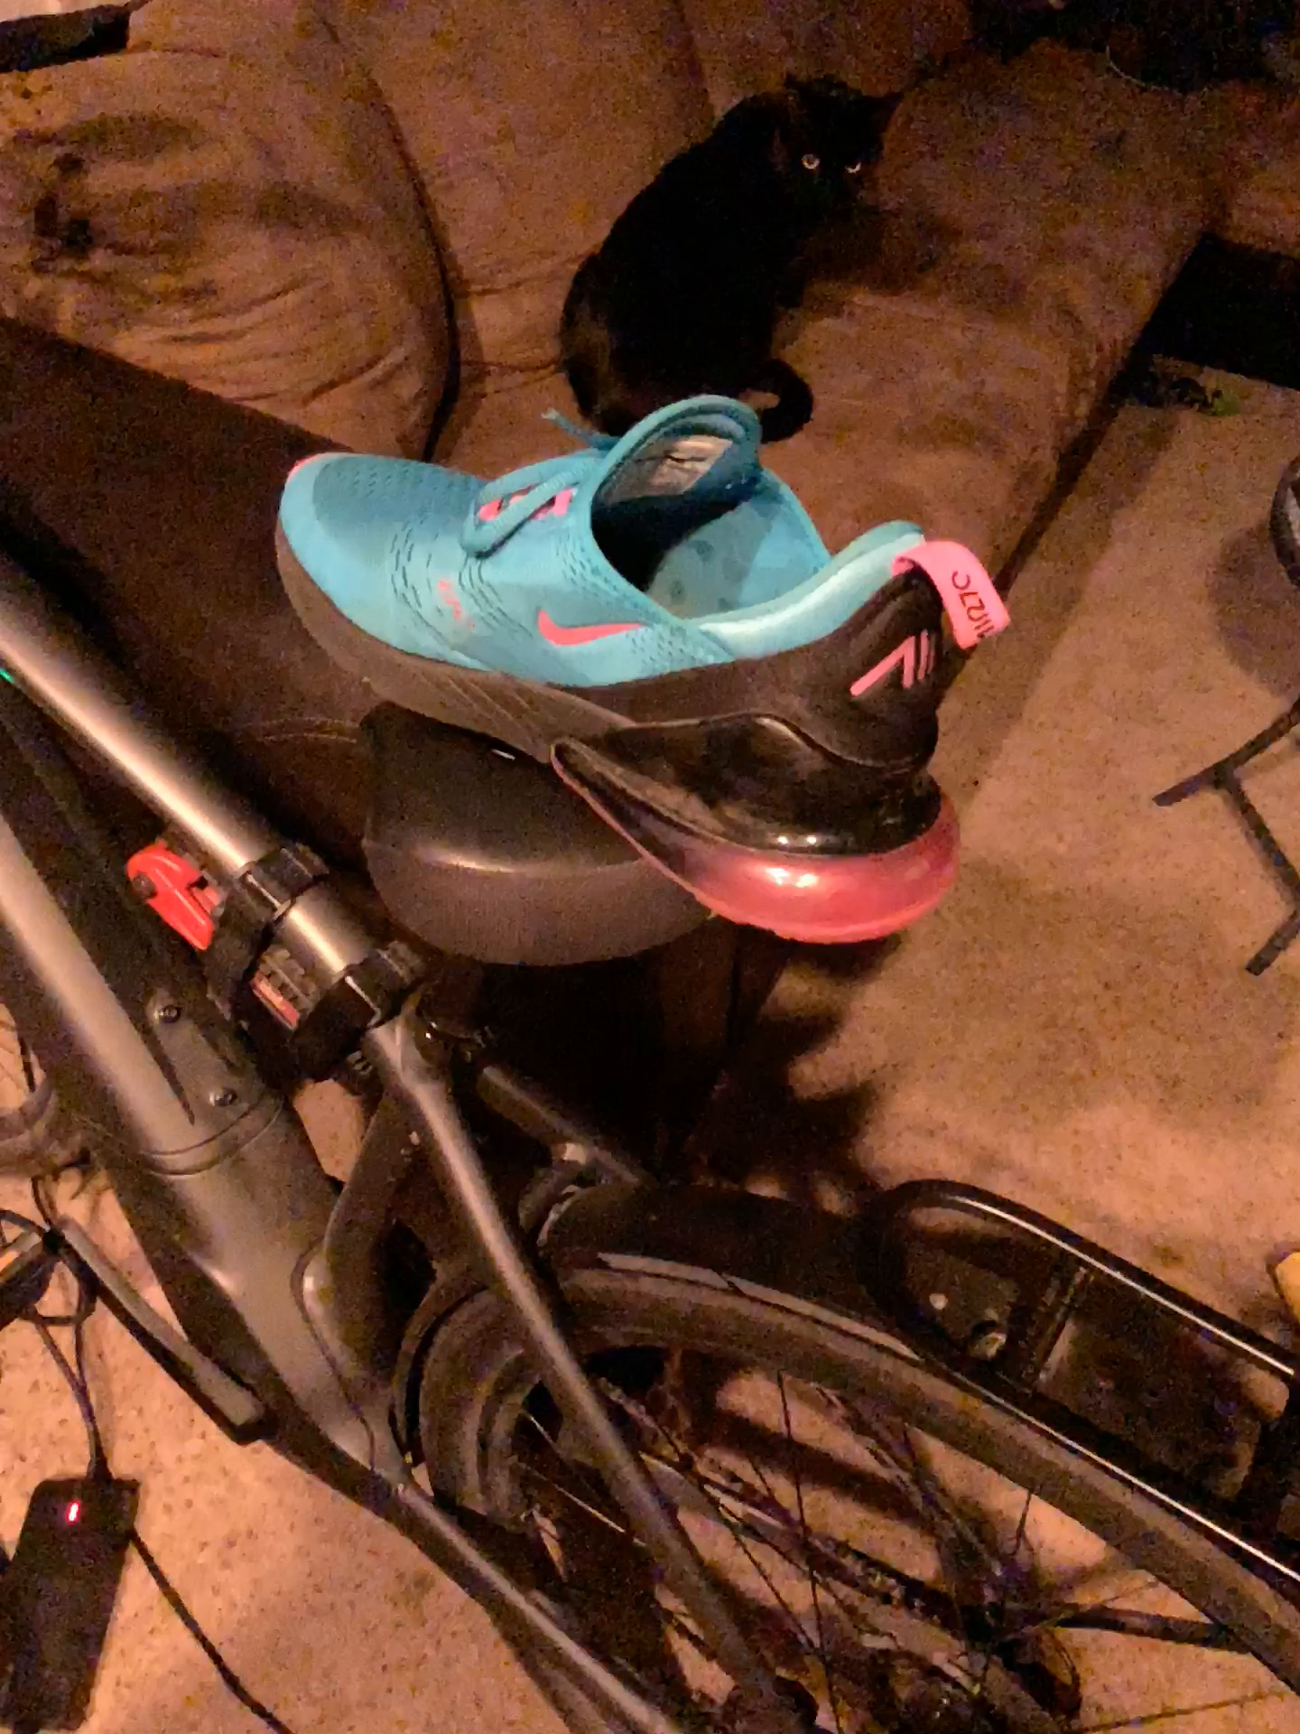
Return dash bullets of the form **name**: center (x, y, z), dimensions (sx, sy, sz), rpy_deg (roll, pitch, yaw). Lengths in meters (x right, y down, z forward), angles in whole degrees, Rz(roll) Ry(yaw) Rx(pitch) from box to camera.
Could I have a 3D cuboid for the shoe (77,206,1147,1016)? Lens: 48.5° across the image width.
- **shoe**: center (-0.021, -0.110, 0.527), dimensions (0.330, 0.130, 0.150), rpy_deg (27, 51, 22)
